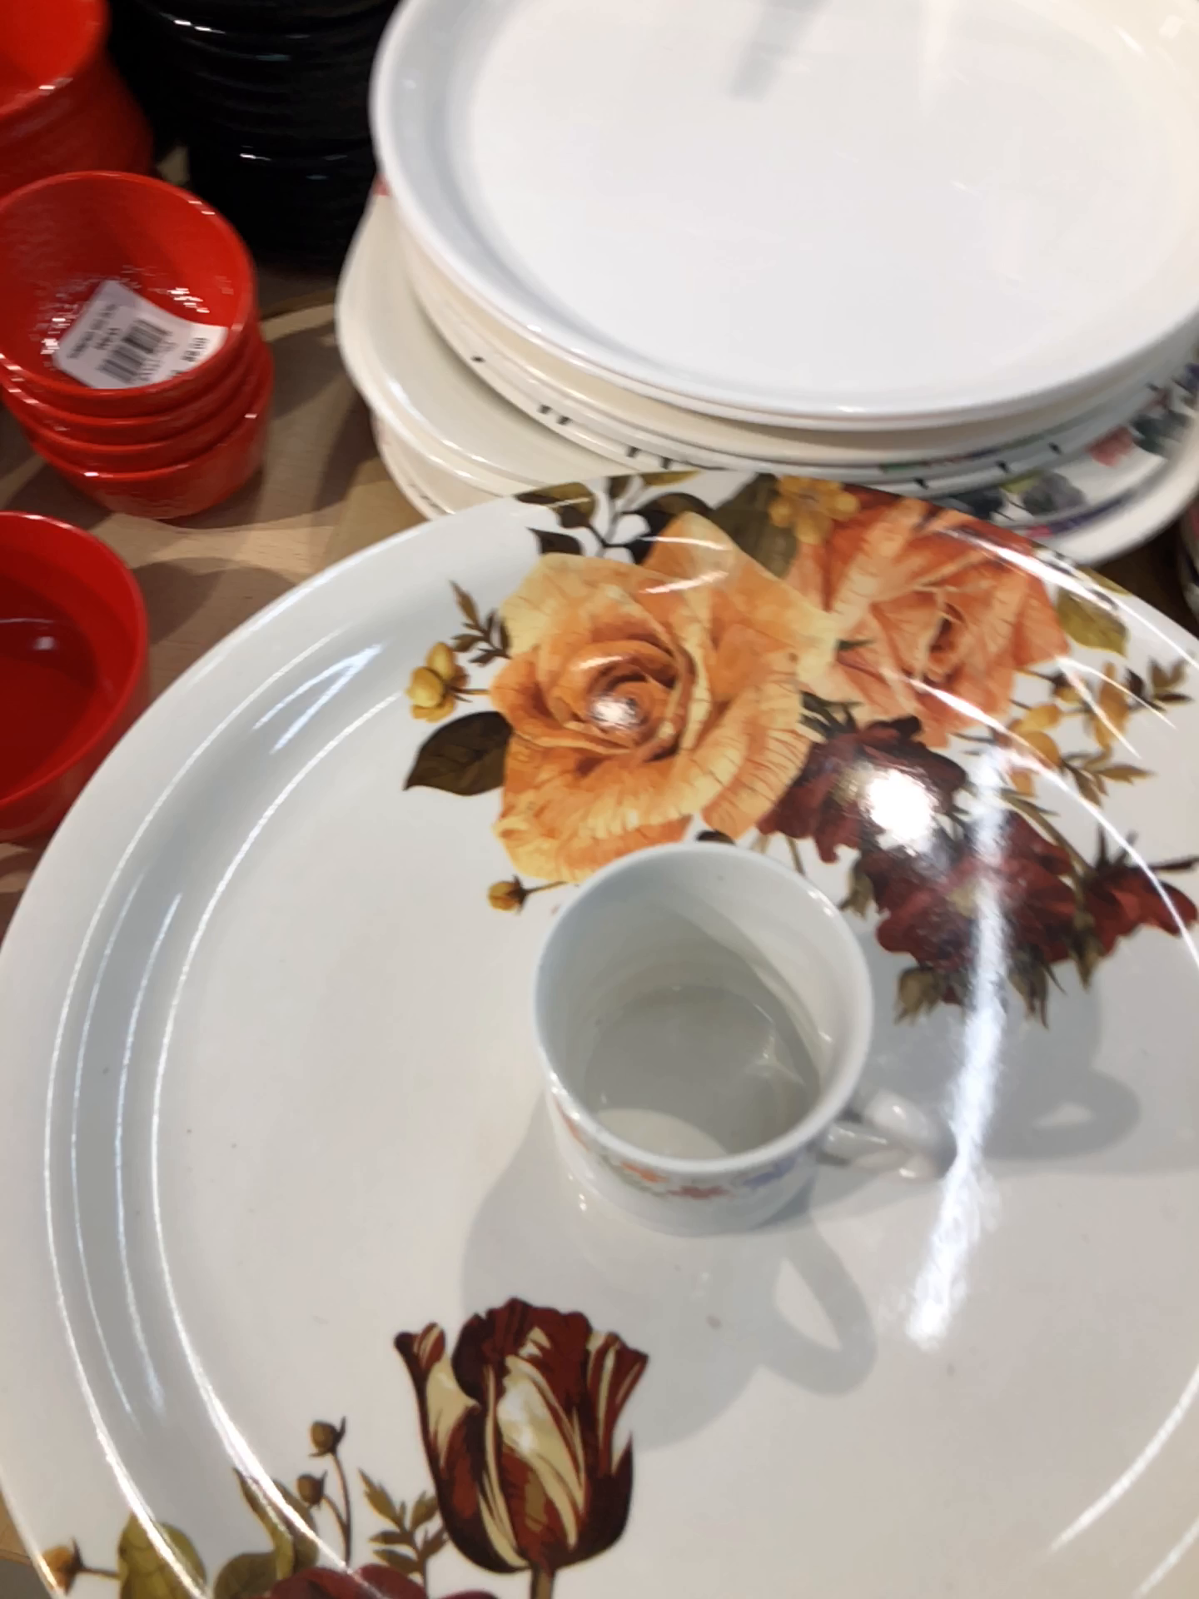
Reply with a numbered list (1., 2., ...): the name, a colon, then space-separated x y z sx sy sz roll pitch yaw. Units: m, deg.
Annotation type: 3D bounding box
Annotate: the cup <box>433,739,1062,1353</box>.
1. cup: 0.028 0.051 0.267 0.090 0.070 0.070 27 66 15
